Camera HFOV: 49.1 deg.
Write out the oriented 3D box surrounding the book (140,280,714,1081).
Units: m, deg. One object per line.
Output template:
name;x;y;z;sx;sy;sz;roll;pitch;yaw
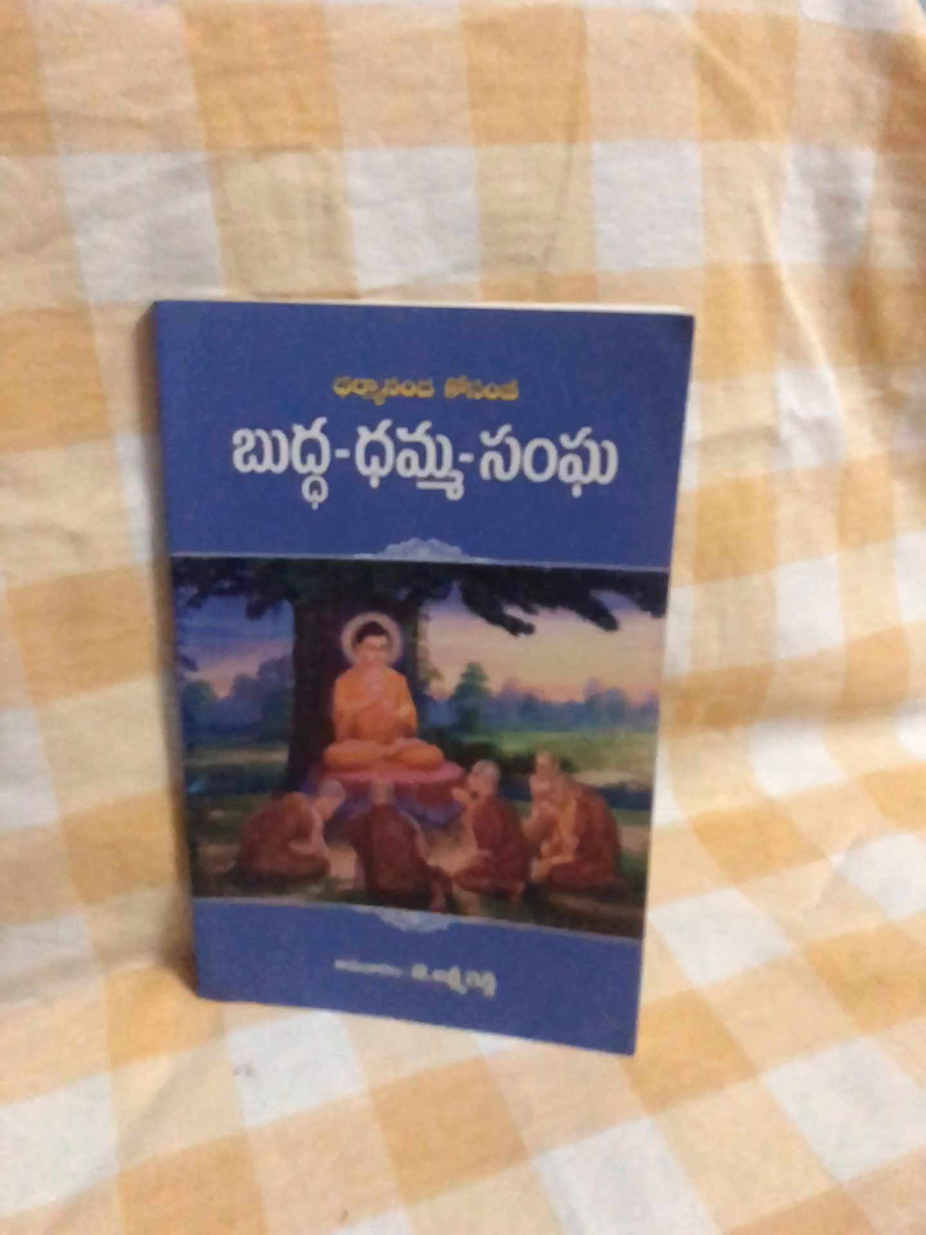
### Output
book;-0.014;0.020;0.291;0.150;0.219;0.020;4;12;10
